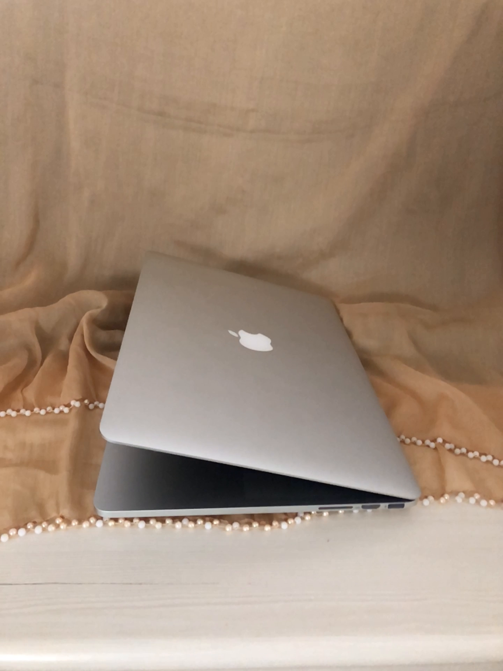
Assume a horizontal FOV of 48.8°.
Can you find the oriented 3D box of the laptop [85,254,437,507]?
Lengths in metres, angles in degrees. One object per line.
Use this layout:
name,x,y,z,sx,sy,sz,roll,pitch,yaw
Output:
laptop,-0.006,0.013,0.545,0.239,0.063,0.353,1,28,-5
